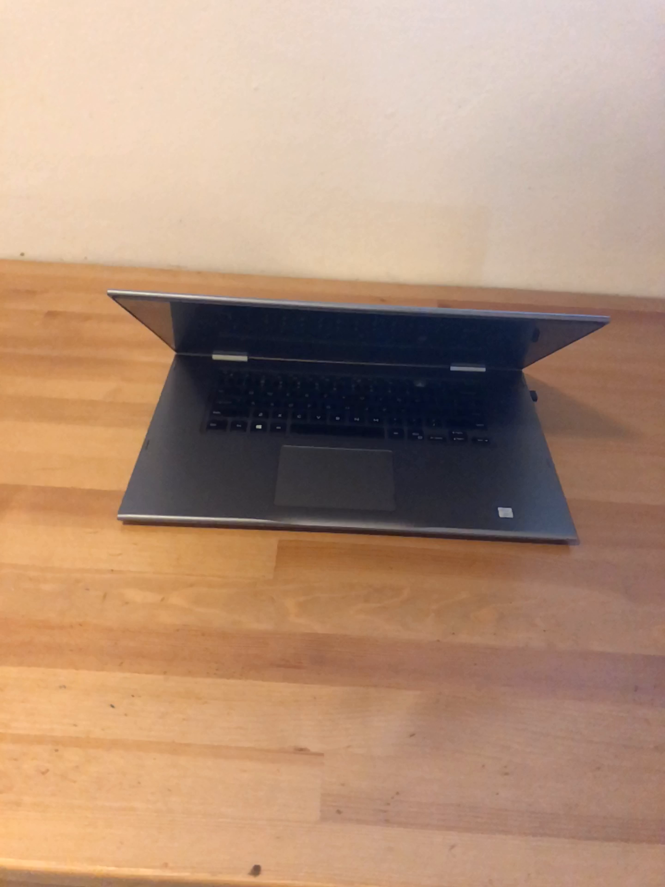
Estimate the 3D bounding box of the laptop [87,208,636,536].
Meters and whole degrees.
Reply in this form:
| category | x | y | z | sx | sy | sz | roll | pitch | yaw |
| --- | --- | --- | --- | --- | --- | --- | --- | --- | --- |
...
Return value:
| category | x | y | z | sx | sy | sz | roll | pitch | yaw |
| --- | --- | --- | --- | --- | --- | --- | --- | --- | --- |
| laptop | 0.021 | -0.072 | 0.649 | 0.375 | 0.165 | 0.248 | 2 | 39 | -1 |
